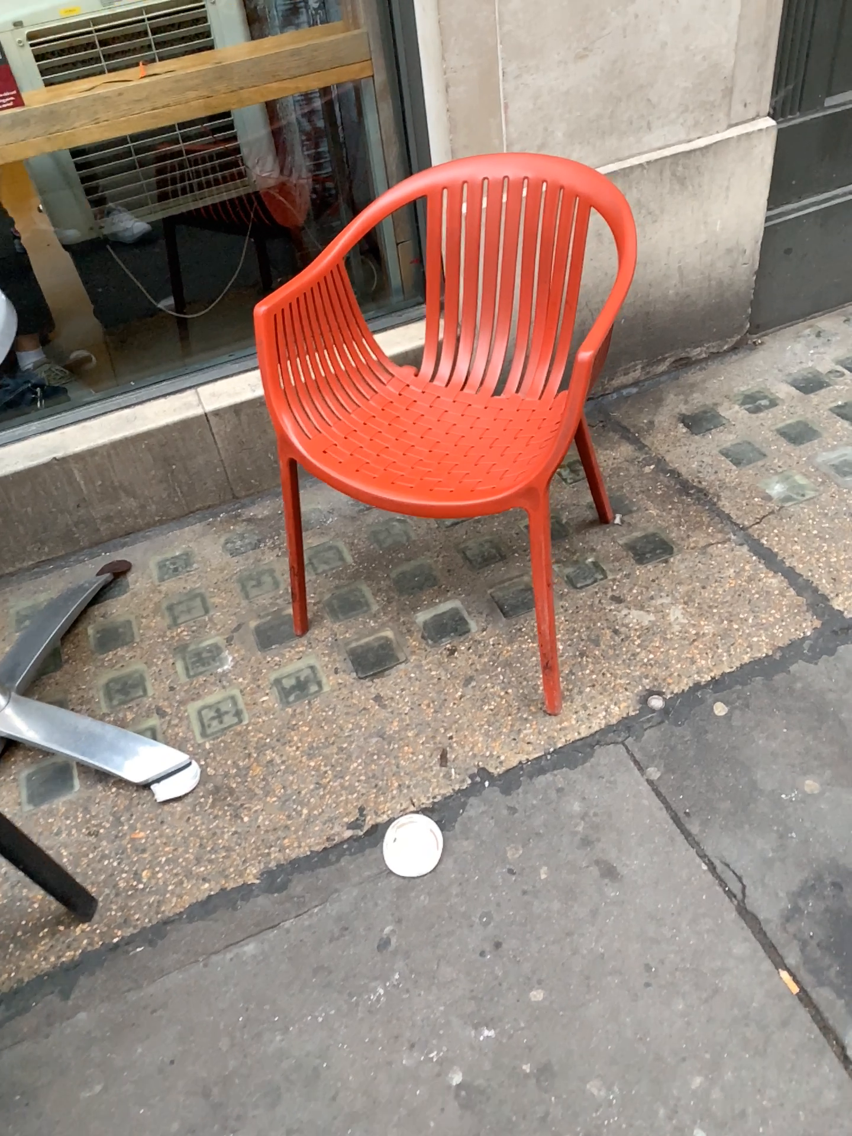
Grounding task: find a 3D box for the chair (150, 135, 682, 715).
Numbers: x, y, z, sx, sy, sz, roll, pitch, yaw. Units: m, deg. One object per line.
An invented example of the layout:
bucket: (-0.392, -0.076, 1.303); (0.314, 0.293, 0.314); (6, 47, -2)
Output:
chair: (0.053, -0.272, 1.496); (0.581, 0.693, 0.615); (13, 46, 22)
